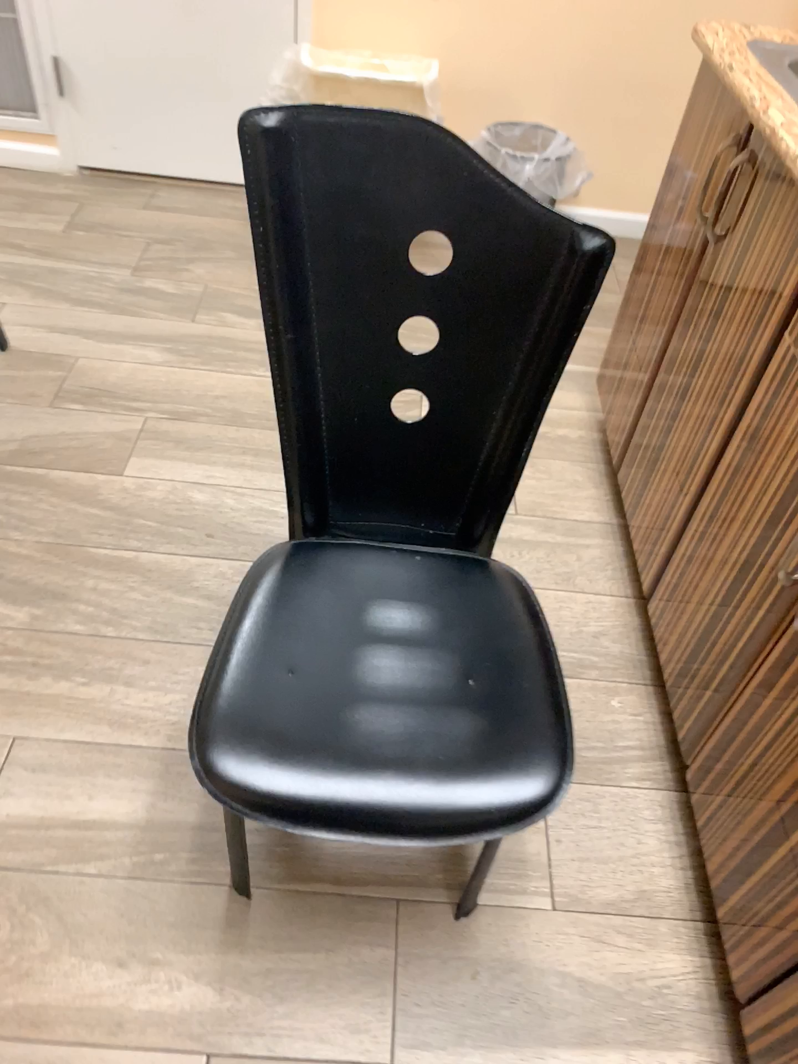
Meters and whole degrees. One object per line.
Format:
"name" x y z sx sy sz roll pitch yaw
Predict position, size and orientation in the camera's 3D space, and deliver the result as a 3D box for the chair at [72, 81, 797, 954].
"chair" 0.006 0.077 0.980 0.461 0.941 0.476 6 45 -2
